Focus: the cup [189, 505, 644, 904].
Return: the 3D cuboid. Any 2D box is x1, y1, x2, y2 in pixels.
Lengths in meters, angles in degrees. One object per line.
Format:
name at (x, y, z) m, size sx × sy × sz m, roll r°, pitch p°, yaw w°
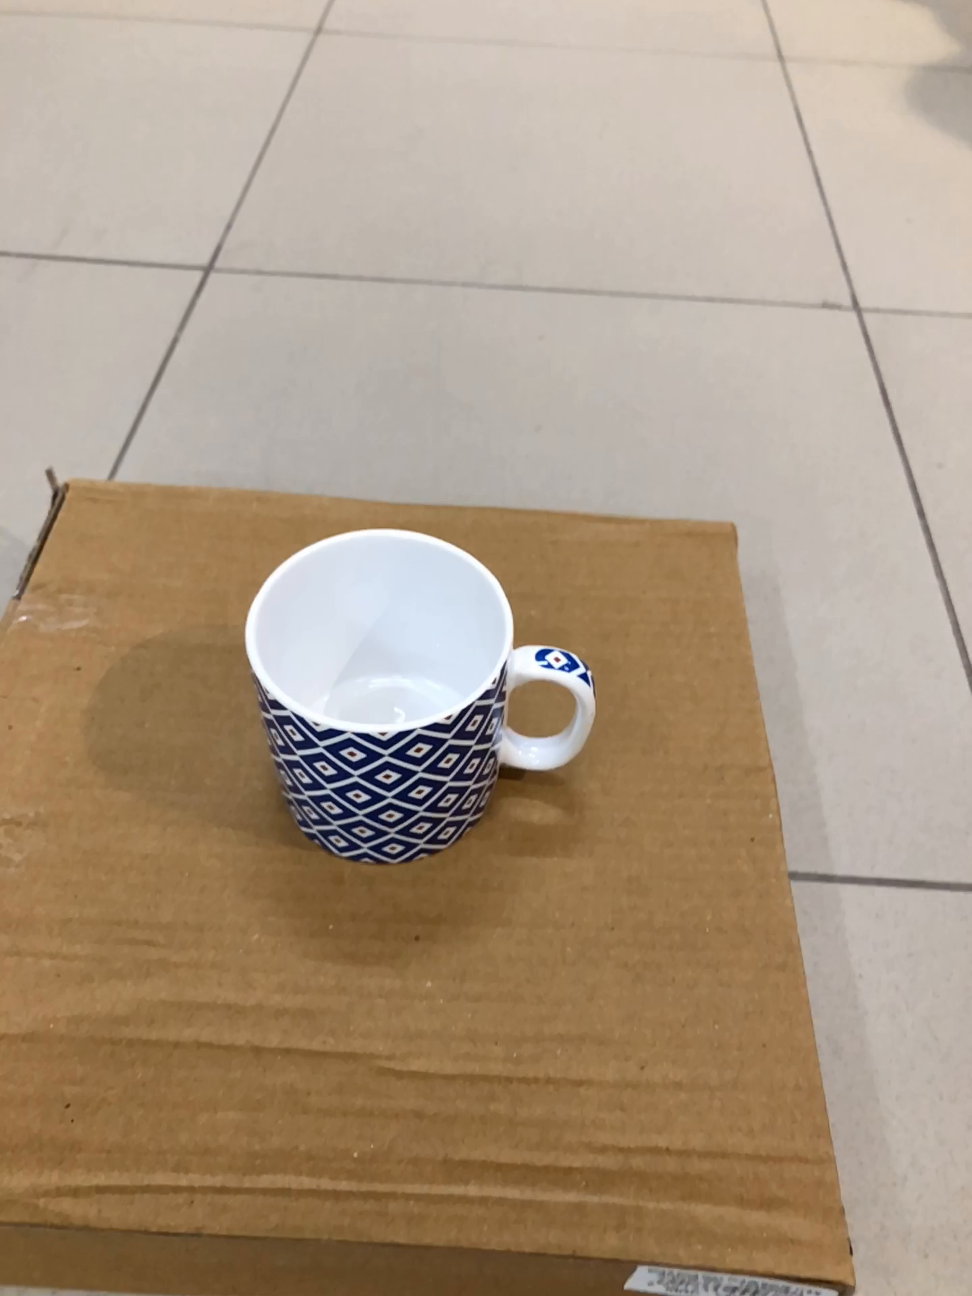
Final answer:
cup at (-0.017, 0.017, 0.318) m, size 0.110 × 0.080 × 0.080 m, roll 2°, pitch 48°, yaw 0°
